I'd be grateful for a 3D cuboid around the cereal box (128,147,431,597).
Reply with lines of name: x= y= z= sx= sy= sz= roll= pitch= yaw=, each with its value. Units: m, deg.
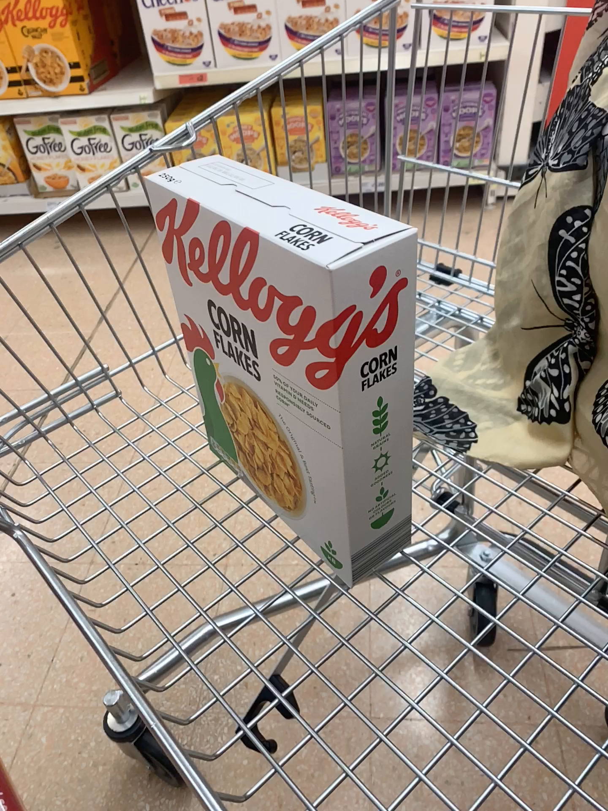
cereal box: x=-0.015 y=-0.023 z=0.419 sx=0.060 sy=0.238 sz=0.201 roll=-30 pitch=45 yaw=-26
